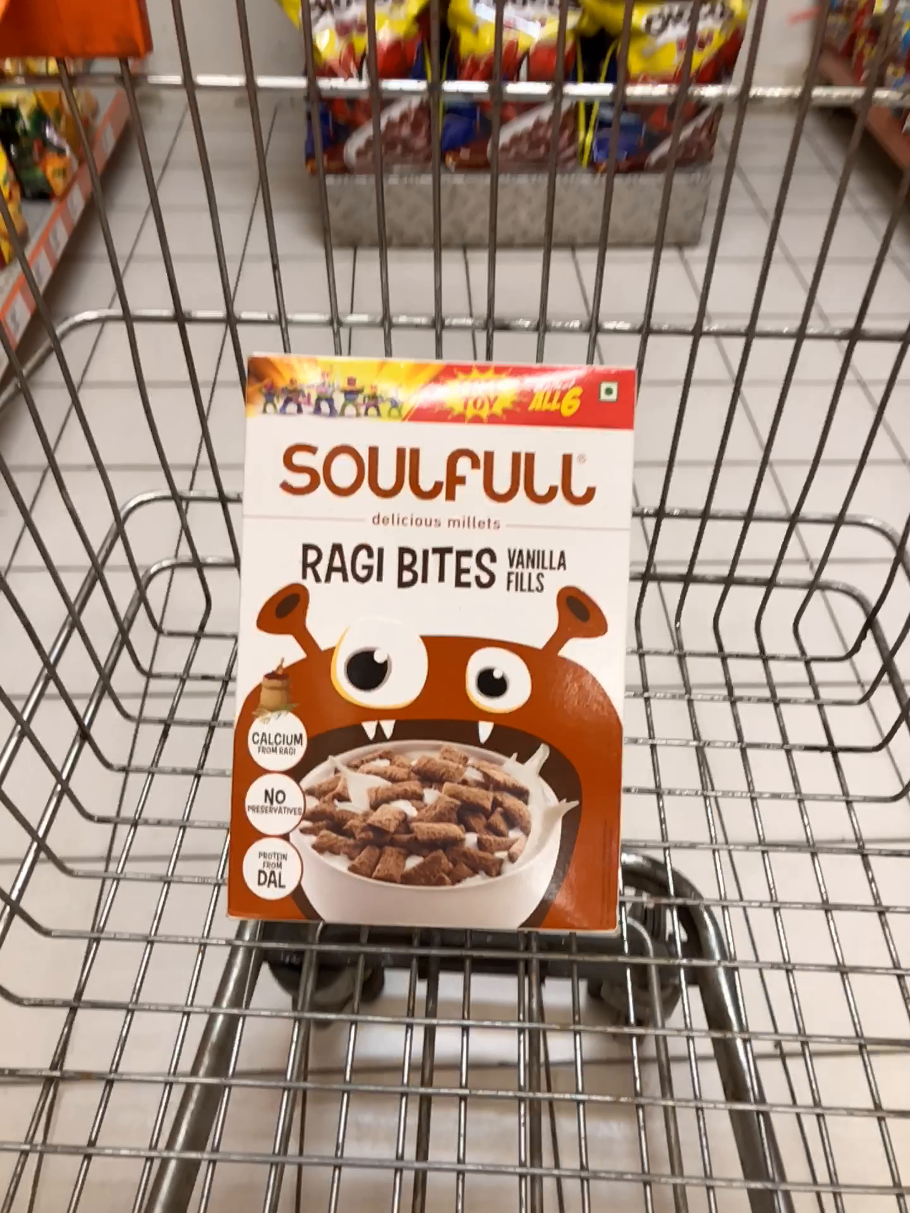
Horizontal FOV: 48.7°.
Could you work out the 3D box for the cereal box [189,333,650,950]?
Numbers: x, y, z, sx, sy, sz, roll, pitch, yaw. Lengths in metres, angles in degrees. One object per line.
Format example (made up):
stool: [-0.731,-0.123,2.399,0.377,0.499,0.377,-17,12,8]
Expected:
cereal box: [-0.016,0.015,0.457,0.180,0.250,0.070,3,1,-1]
